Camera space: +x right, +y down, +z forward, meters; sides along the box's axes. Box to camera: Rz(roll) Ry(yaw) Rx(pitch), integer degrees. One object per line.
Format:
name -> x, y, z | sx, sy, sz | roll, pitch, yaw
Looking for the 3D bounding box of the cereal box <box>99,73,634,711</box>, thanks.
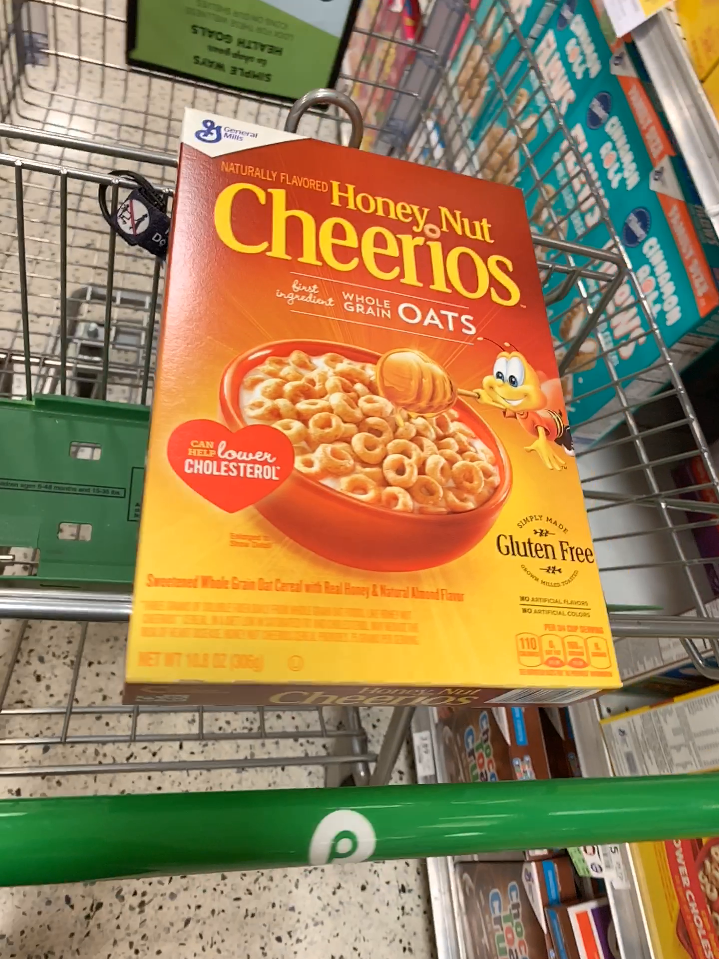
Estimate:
cereal box -> -0.002, -0.046, 0.353 | 0.200, 0.060, 0.292 | 6, 63, -17
